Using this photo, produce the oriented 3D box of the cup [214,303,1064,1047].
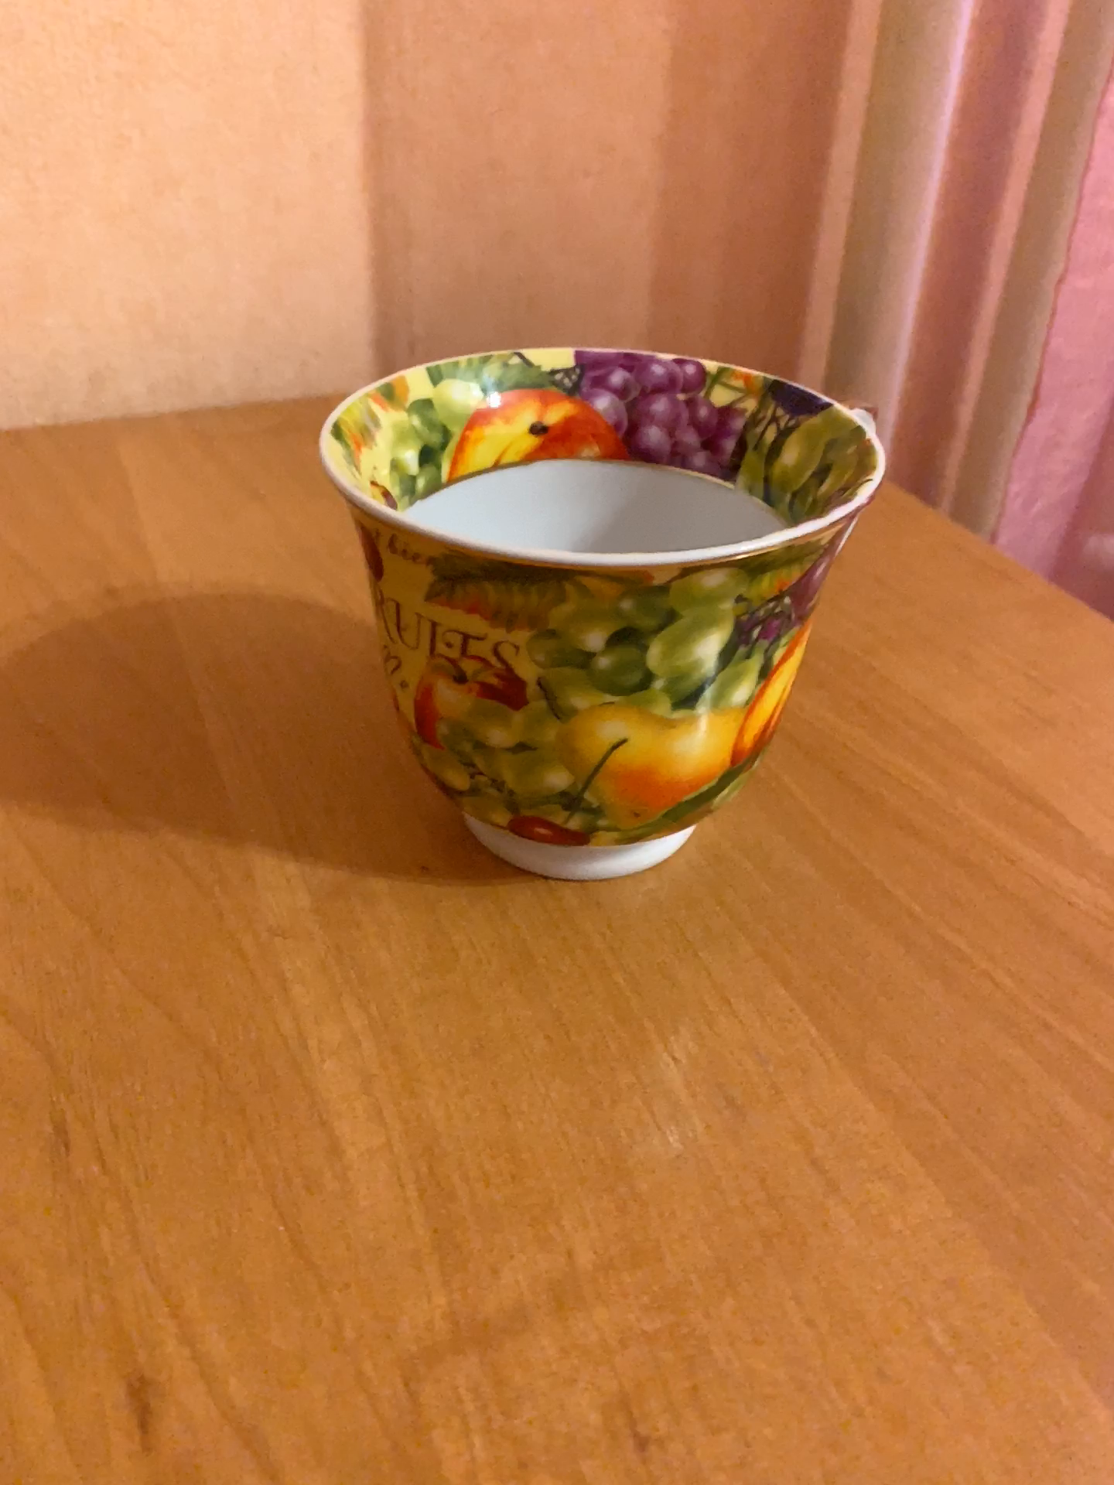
[{"bbox_3d":[0.014,-0.023,0.205,0.106,0.071,0.086,-27,44,-36],"label":"cup"}]
